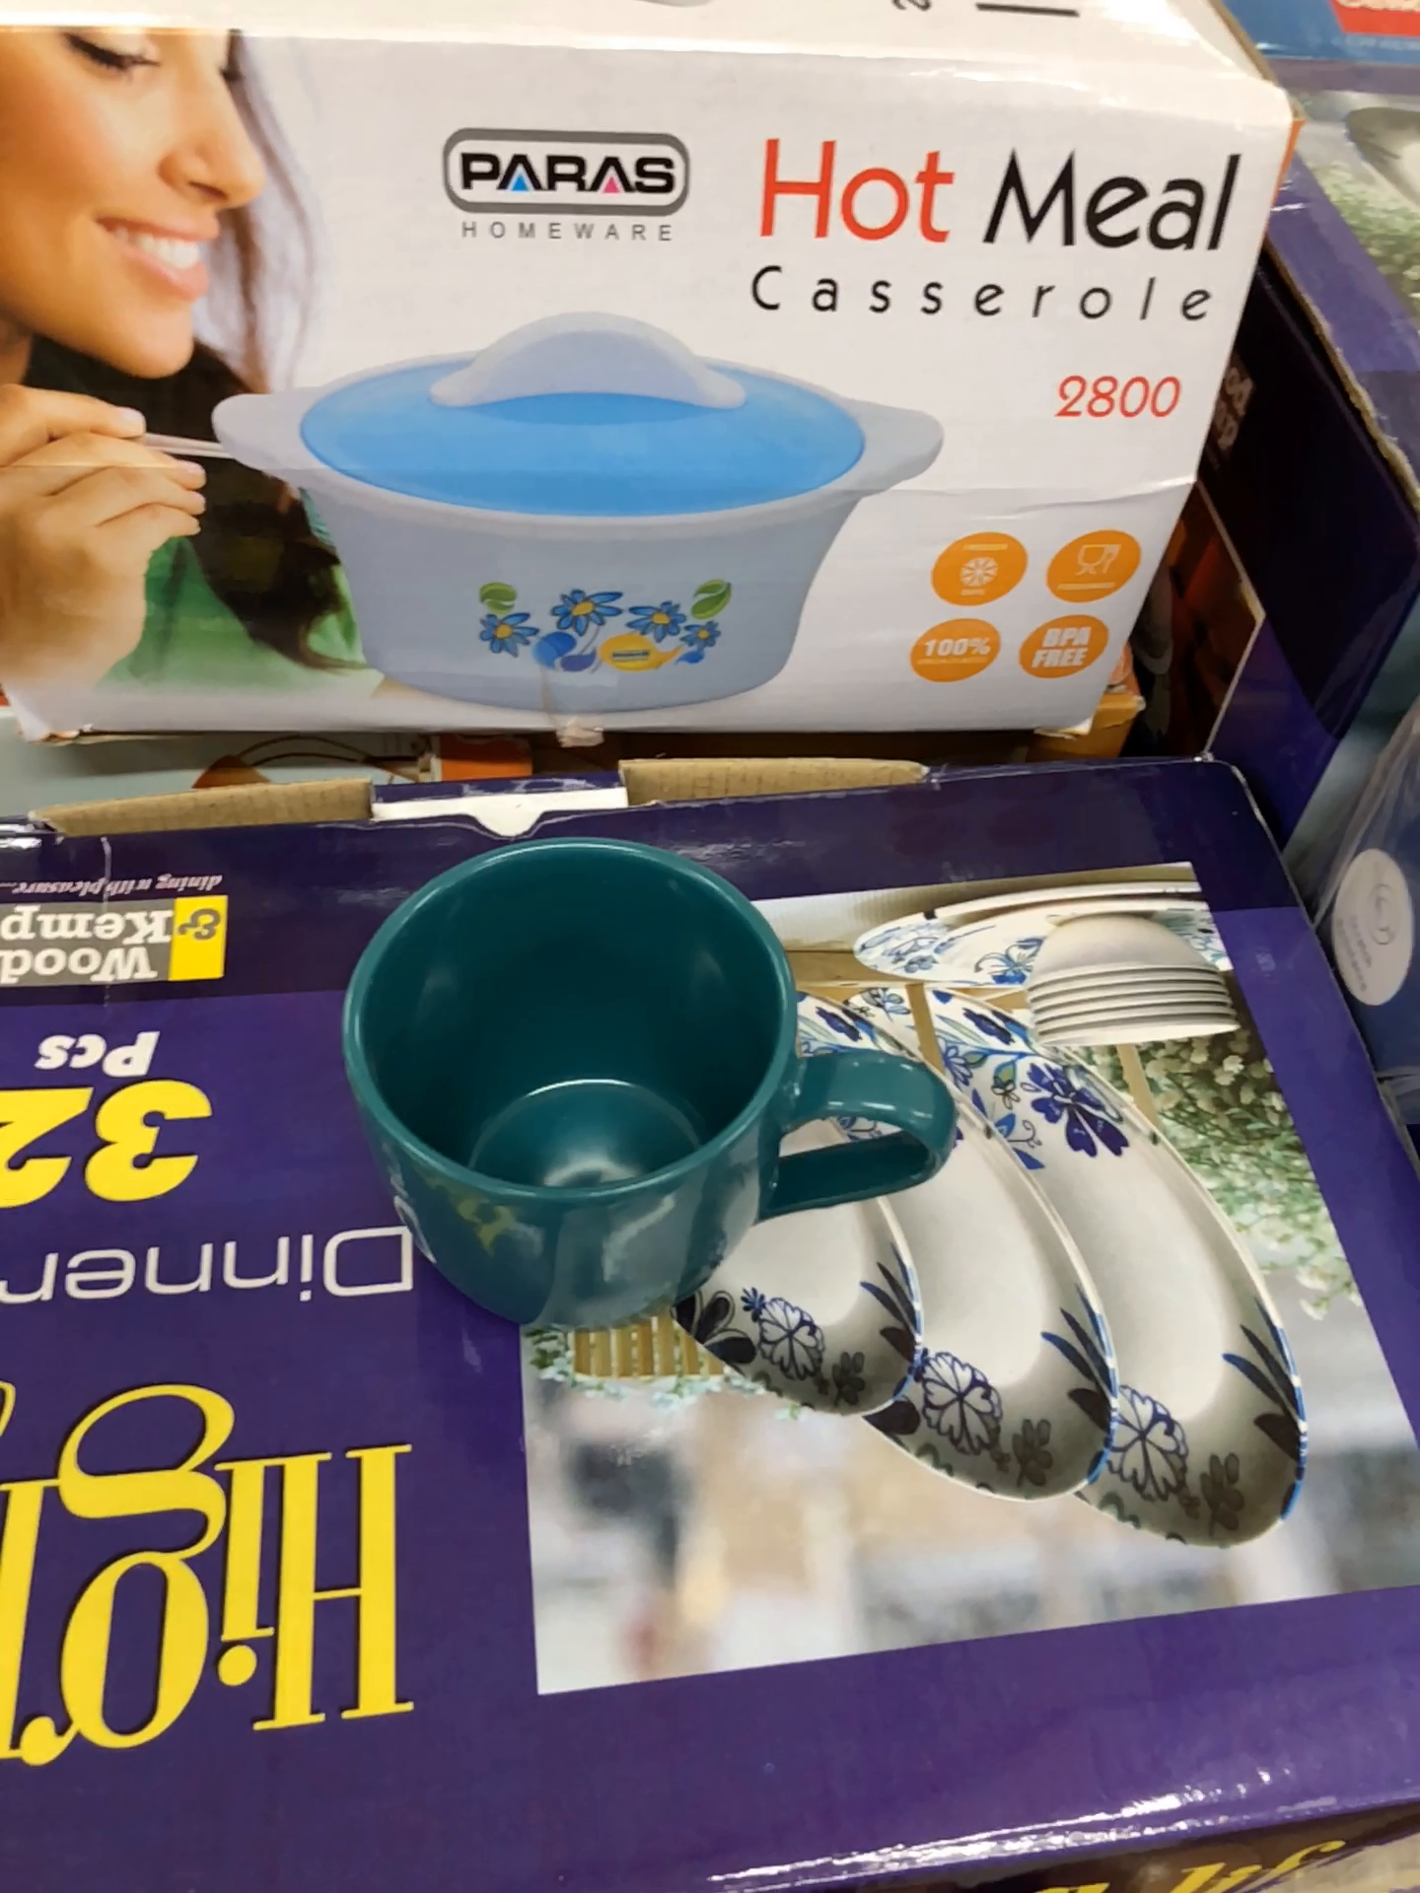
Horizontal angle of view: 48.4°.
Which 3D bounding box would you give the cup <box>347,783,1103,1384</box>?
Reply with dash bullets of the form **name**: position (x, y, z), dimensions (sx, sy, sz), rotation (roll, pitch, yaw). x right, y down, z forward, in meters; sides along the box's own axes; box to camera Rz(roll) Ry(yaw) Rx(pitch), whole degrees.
- **cup**: position (-0.003, 0.018, 0.223), dimensions (0.090, 0.050, 0.060), rotation (-4, 53, -8)
